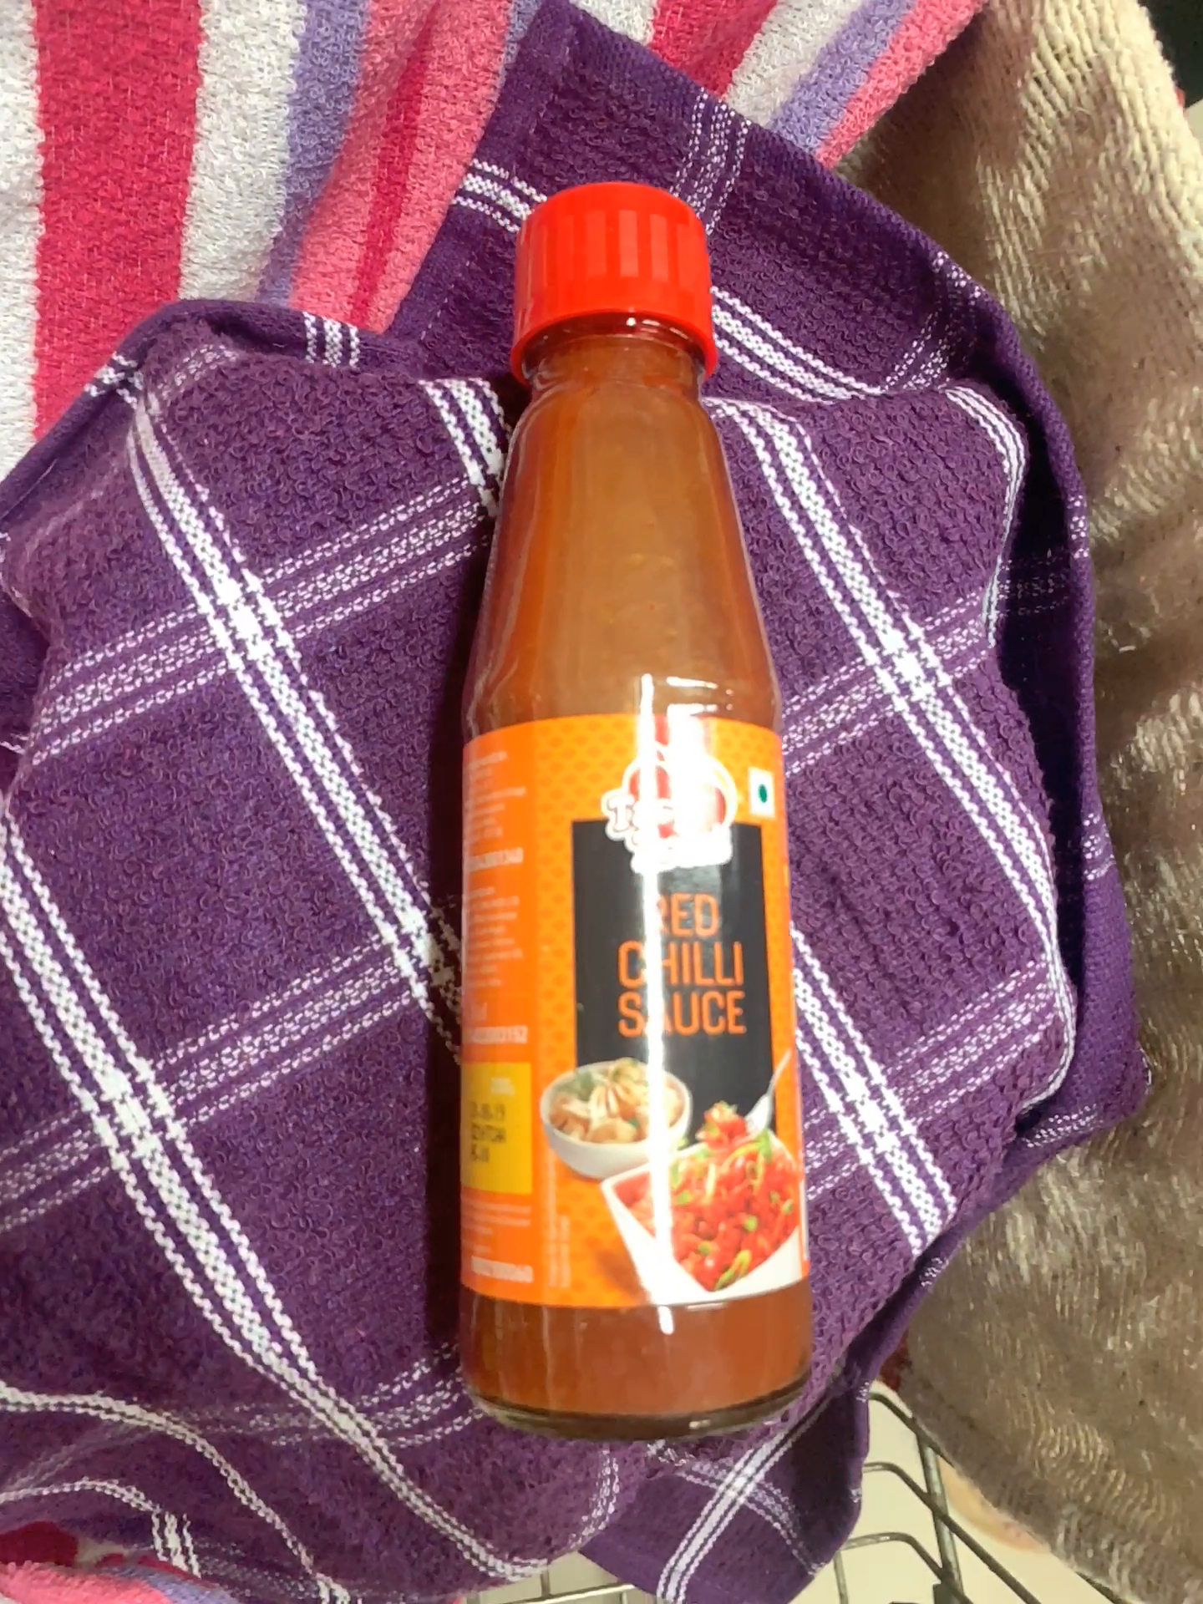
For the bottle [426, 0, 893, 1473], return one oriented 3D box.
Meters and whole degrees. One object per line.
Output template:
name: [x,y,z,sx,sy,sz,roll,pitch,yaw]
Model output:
bottle: [0.003,-0.014,0.171,0.050,0.040,0.180,0,82,-10]
